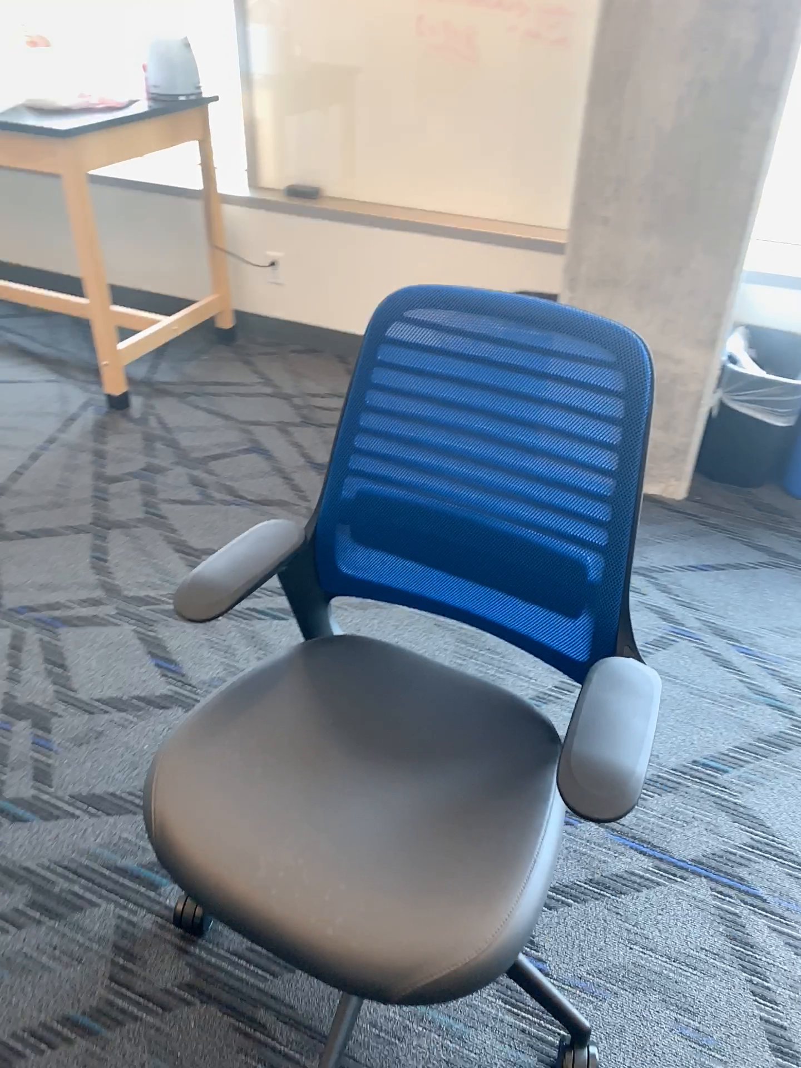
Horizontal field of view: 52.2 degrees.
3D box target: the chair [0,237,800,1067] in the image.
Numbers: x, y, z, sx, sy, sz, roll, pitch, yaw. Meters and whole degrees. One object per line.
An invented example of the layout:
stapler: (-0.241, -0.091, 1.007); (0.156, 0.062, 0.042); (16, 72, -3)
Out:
chair: (-0.011, 0.224, 0.995); (0.701, 0.882, 0.685); (16, 37, 19)
